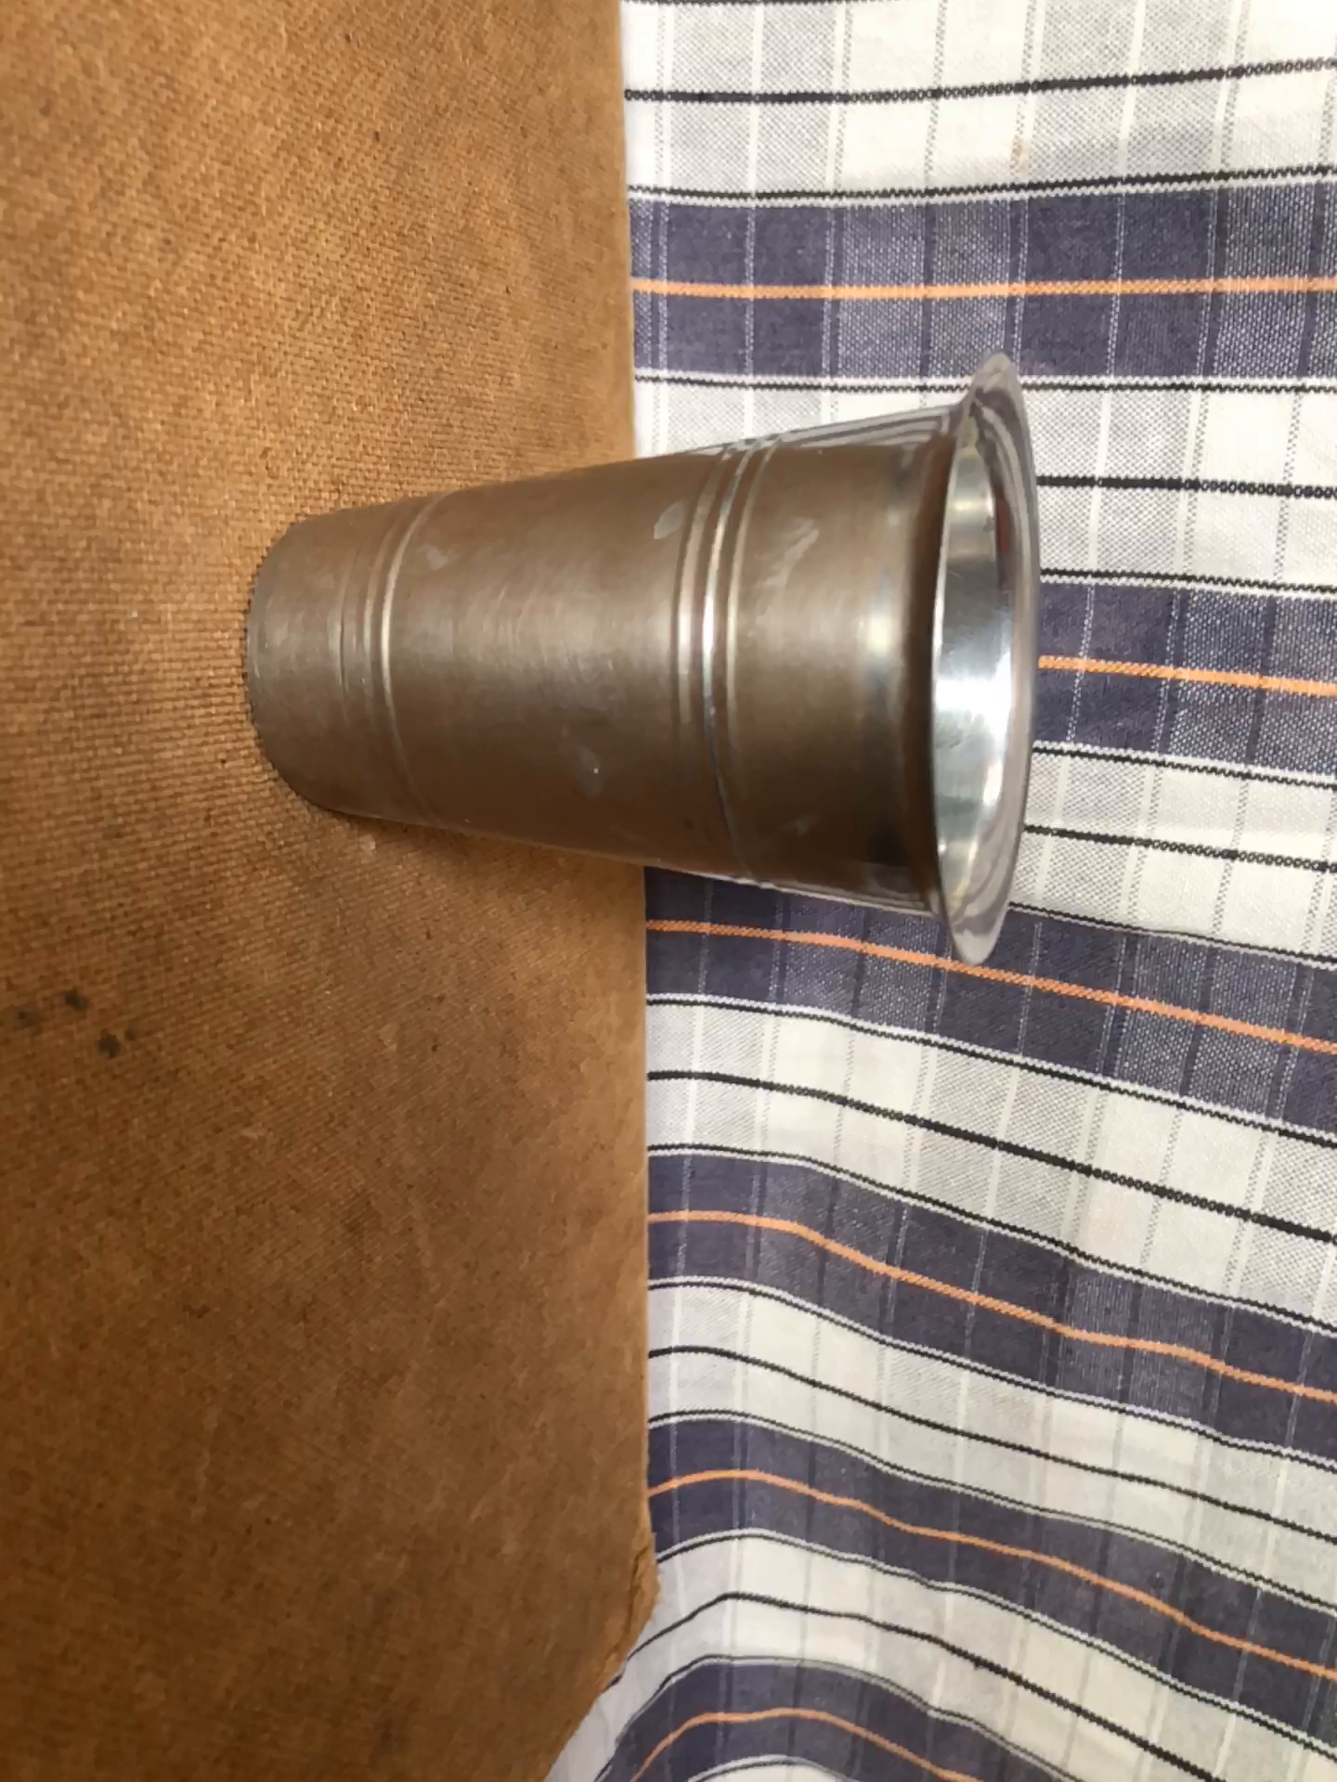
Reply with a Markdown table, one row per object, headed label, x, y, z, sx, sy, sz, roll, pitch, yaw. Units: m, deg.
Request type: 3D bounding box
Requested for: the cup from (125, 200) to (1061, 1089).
| label | x | y | z | sx | sy | sz | roll | pitch | yaw |
| --- | --- | --- | --- | --- | --- | --- | --- | --- | --- |
| cup | 0.001 | -0.025 | 0.205 | 0.091 | 0.089 | 0.080 | 43 | 52 | -64 |
